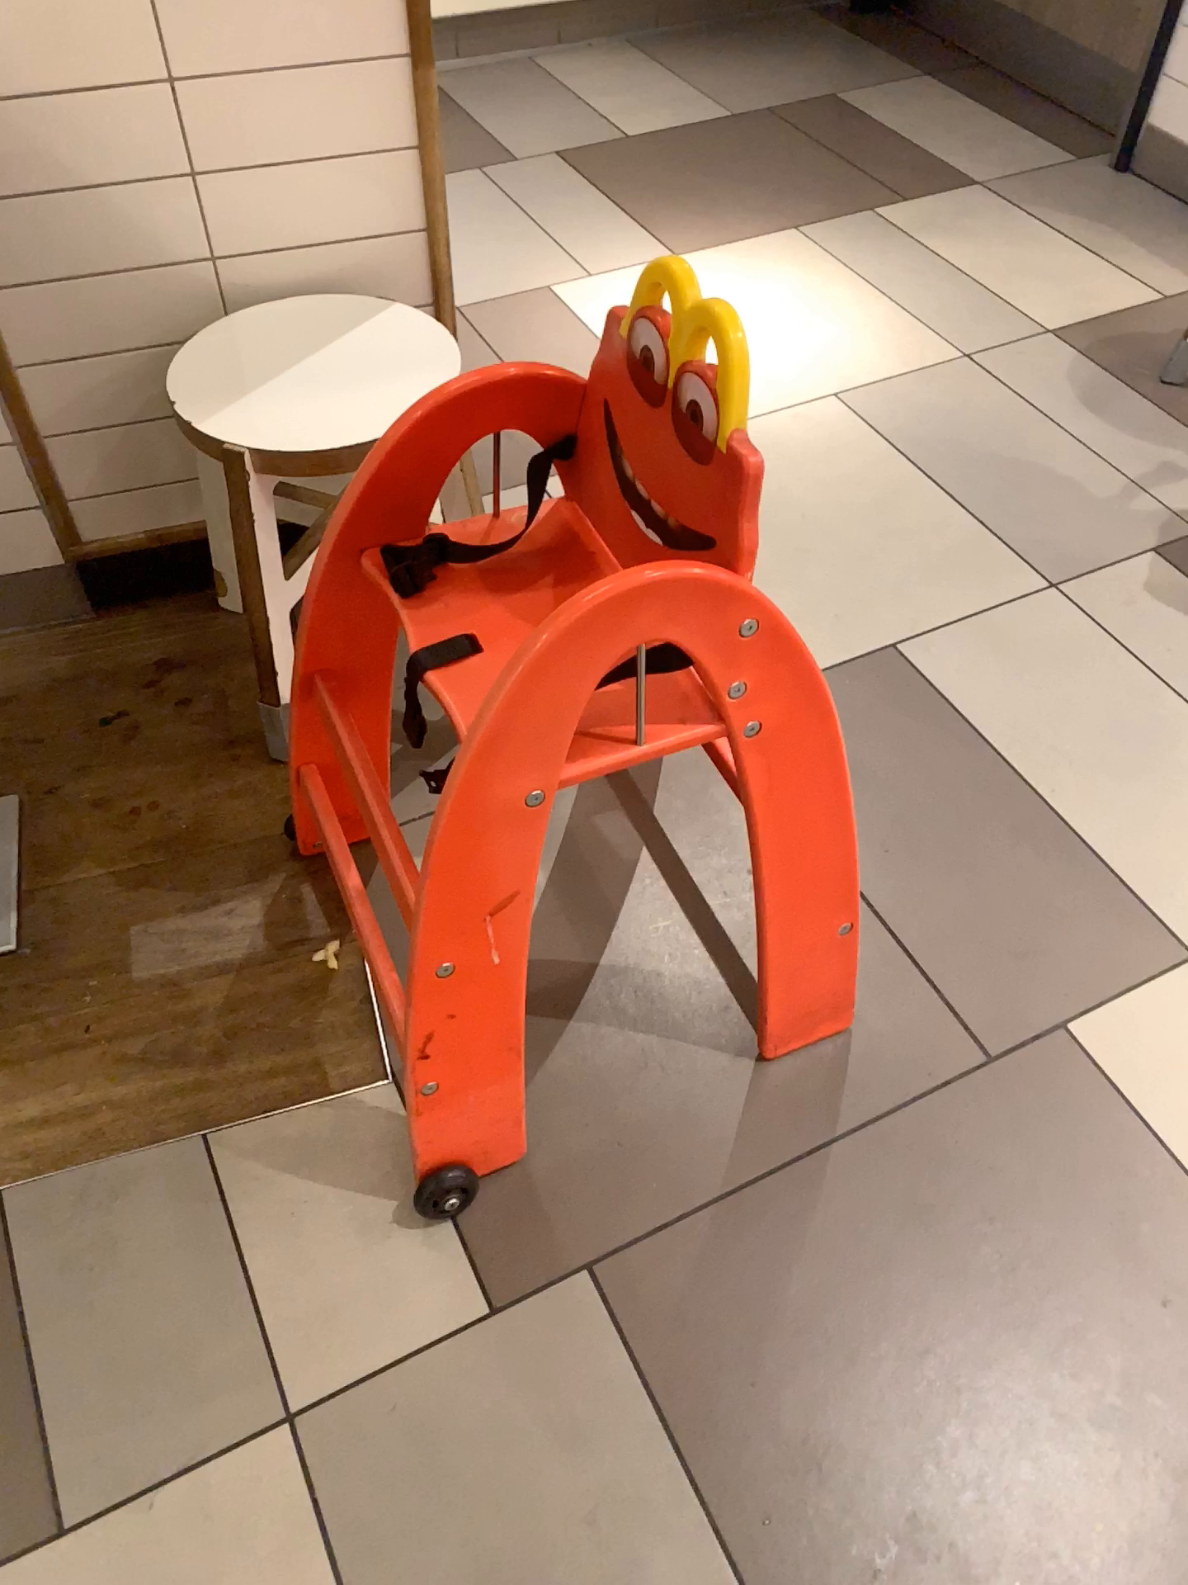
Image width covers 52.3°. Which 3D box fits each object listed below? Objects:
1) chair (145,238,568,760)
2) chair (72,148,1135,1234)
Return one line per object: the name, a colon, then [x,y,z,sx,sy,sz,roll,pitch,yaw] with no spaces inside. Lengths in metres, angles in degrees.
chair: [-0.270,-0.358,1.491,0.371,0.446,0.322,-20,52,-17]
chair: [-0.033,-0.100,1.133,0.581,0.654,0.584,-20,52,-17]
